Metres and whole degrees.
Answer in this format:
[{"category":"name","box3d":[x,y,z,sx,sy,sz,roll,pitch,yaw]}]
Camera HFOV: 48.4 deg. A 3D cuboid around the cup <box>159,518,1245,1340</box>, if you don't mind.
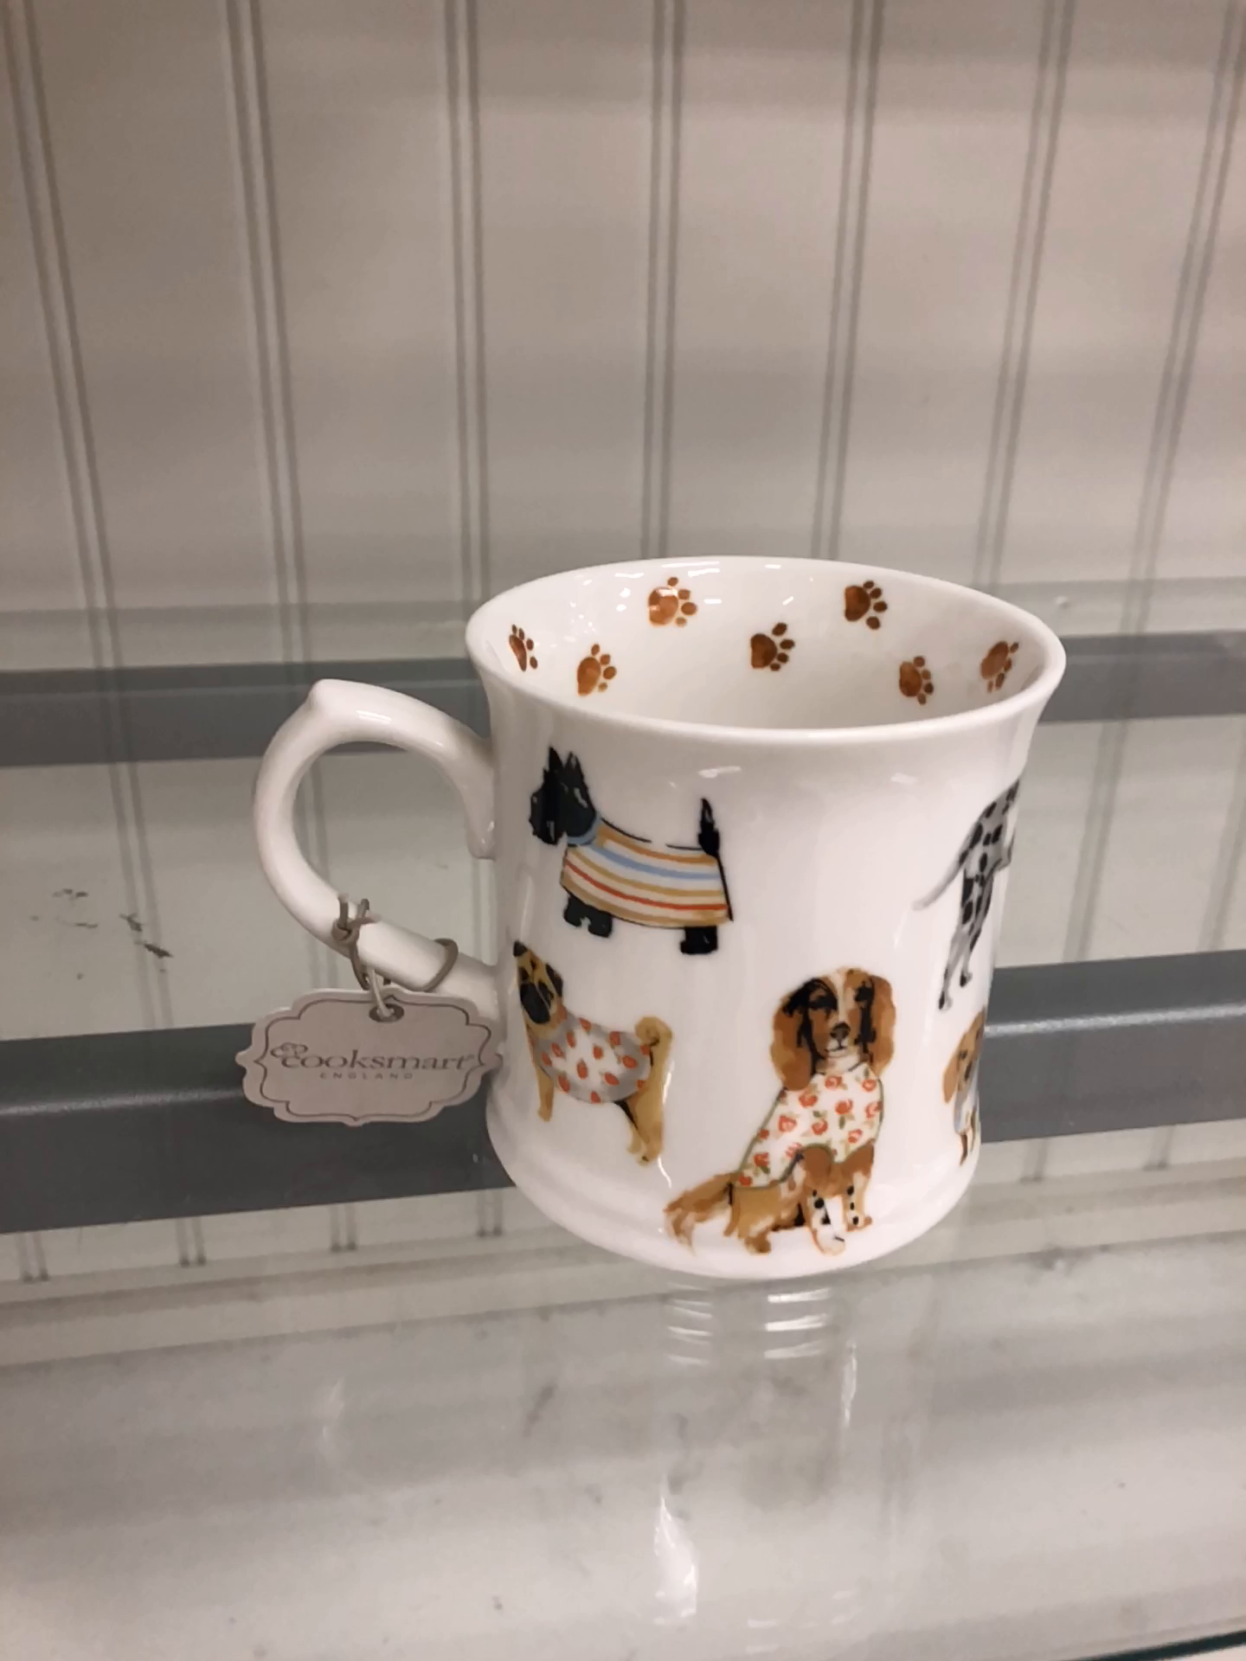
[{"category":"cup","box3d":[0.010,0.007,0.222,0.125,0.089,0.101,2,25,1]}]
